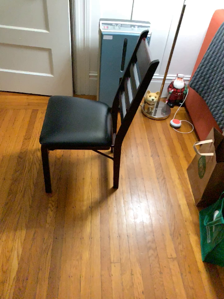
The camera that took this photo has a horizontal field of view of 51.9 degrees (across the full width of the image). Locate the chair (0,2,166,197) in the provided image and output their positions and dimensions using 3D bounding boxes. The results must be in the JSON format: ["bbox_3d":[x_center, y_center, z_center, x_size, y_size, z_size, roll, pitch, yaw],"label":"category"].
[{"bbox_3d":[-0.149,-0.199,1.229,0.550,0.865,0.493,0,46,-7],"label":"chair"}]
